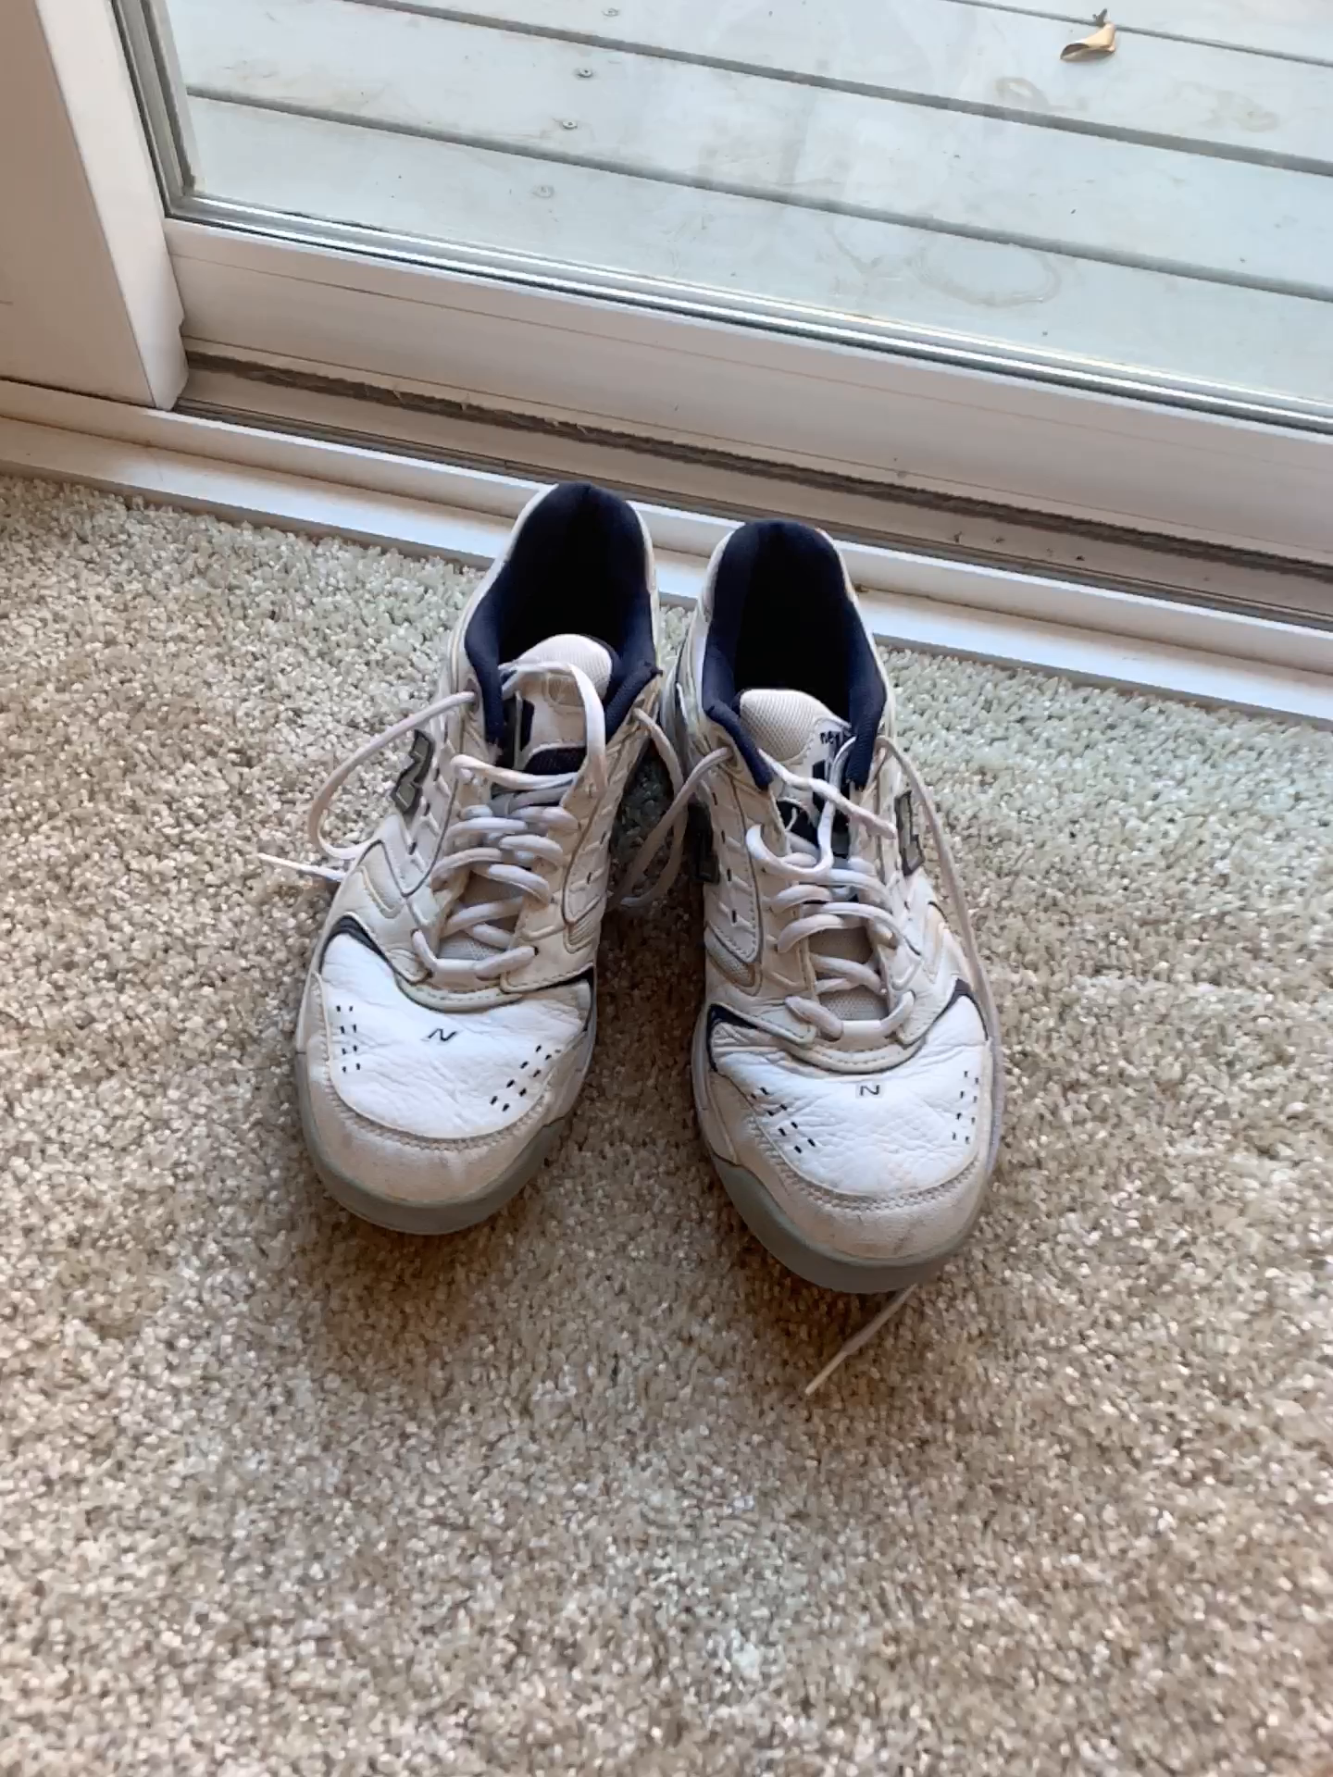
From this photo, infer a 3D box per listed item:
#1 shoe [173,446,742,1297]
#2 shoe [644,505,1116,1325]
[{"bbox_3d":[-0.056,-0.015,0.477,0.110,0.100,0.271,12,59,2],"label":"shoe"},{"bbox_3d":[0.059,0.001,0.499,0.110,0.110,0.281,-1,59,-6],"label":"shoe"}]
